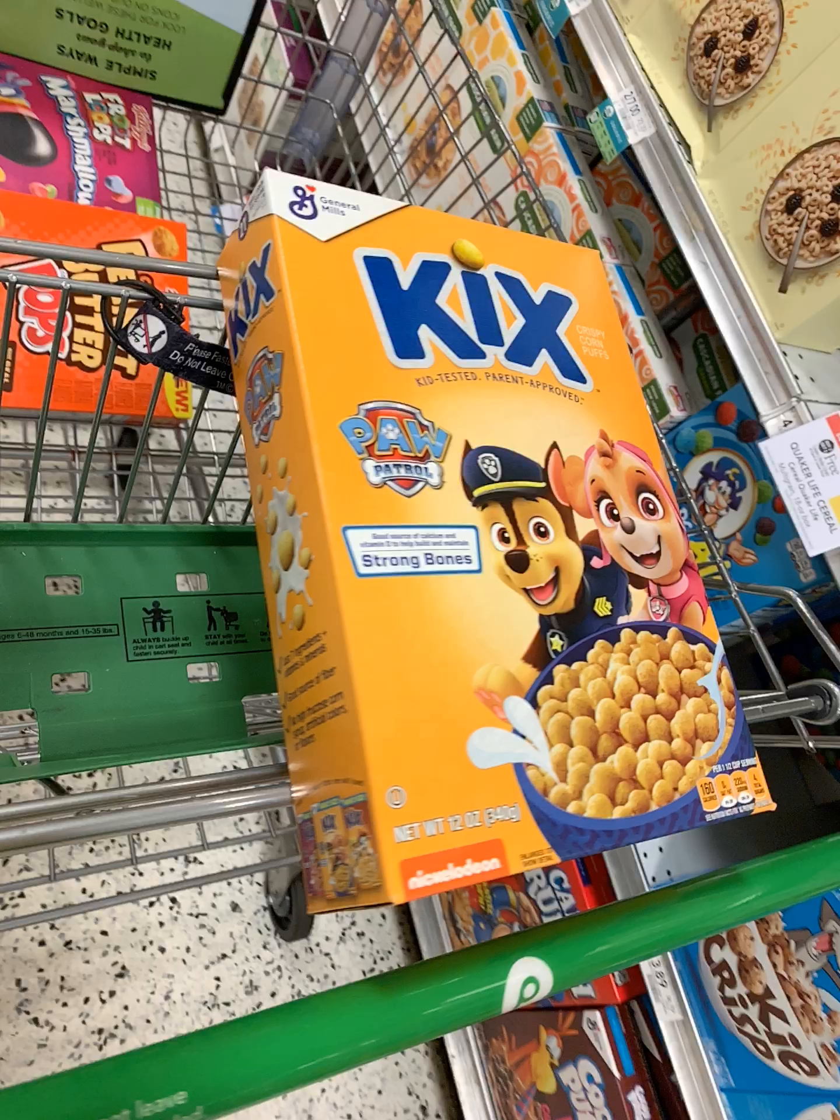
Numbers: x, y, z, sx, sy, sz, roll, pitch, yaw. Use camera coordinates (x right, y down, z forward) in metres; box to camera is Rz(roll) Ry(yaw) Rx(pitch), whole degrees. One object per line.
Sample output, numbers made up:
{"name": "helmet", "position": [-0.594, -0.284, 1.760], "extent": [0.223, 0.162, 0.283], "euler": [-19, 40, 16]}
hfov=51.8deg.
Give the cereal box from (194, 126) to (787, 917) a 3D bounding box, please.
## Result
{"name": "cereal box", "position": [0.025, -0.025, 0.414], "extent": [0.211, 0.079, 0.321], "euler": [0, 69, -33]}
